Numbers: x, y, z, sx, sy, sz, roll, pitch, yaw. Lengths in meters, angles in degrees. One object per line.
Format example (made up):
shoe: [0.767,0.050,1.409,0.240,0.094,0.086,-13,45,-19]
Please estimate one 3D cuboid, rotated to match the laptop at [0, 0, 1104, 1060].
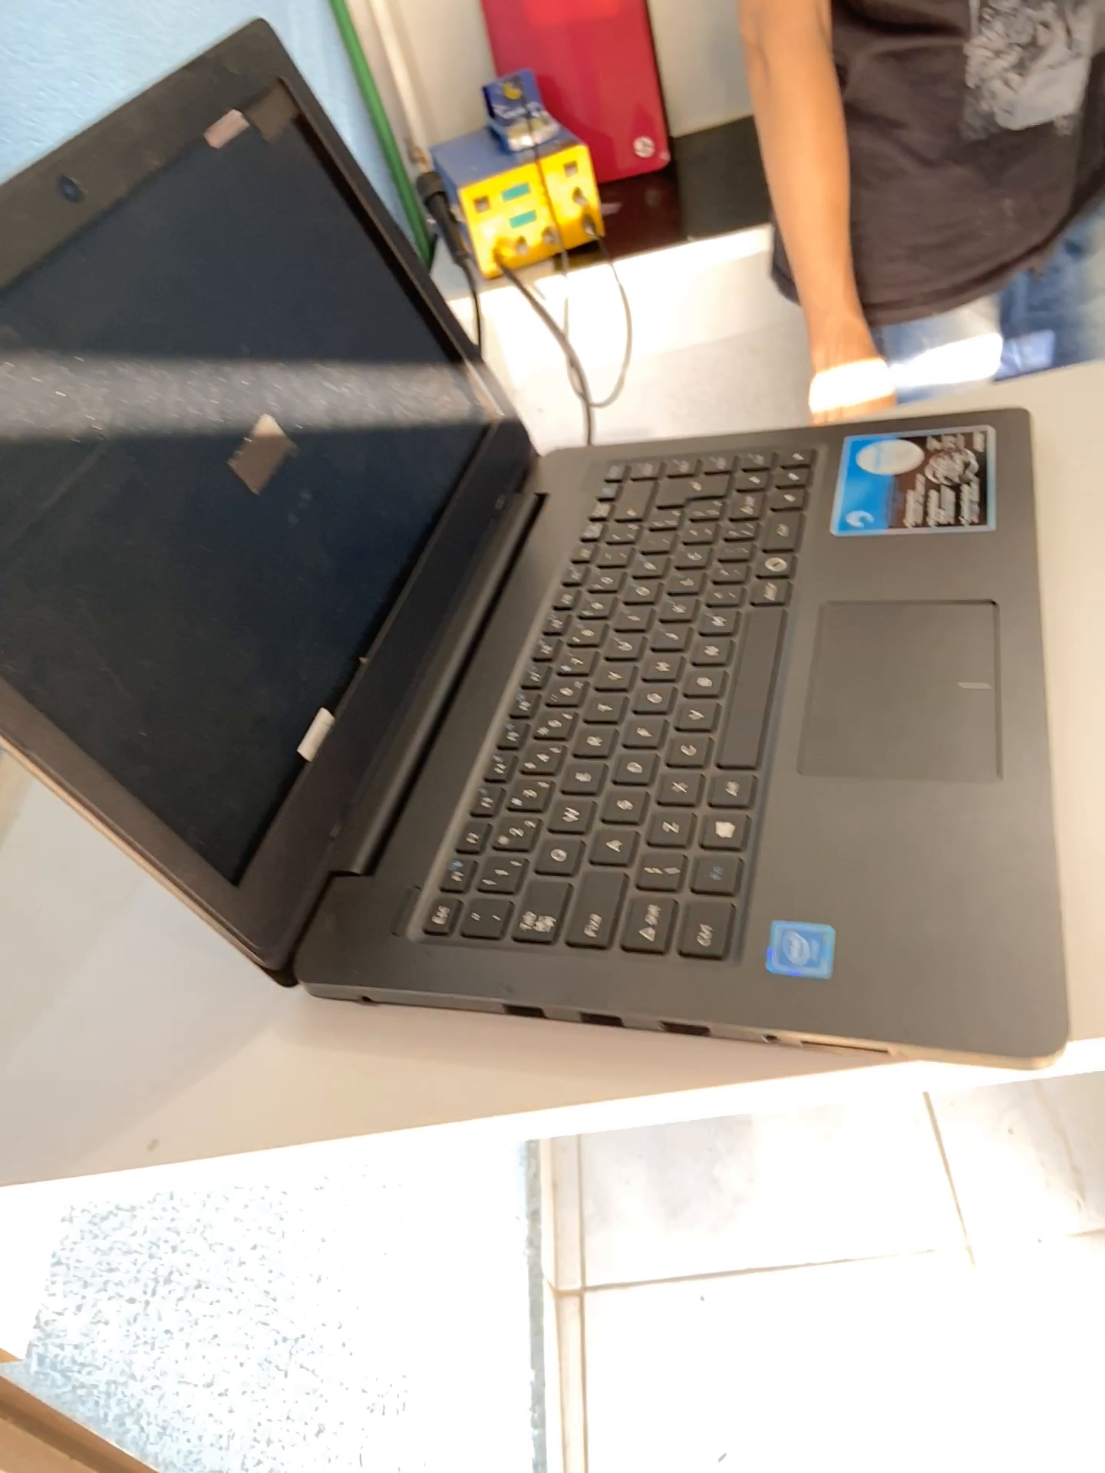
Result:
laptop: [0.003,-0.114,0.397,0.309,0.214,0.339,0,44,20]
